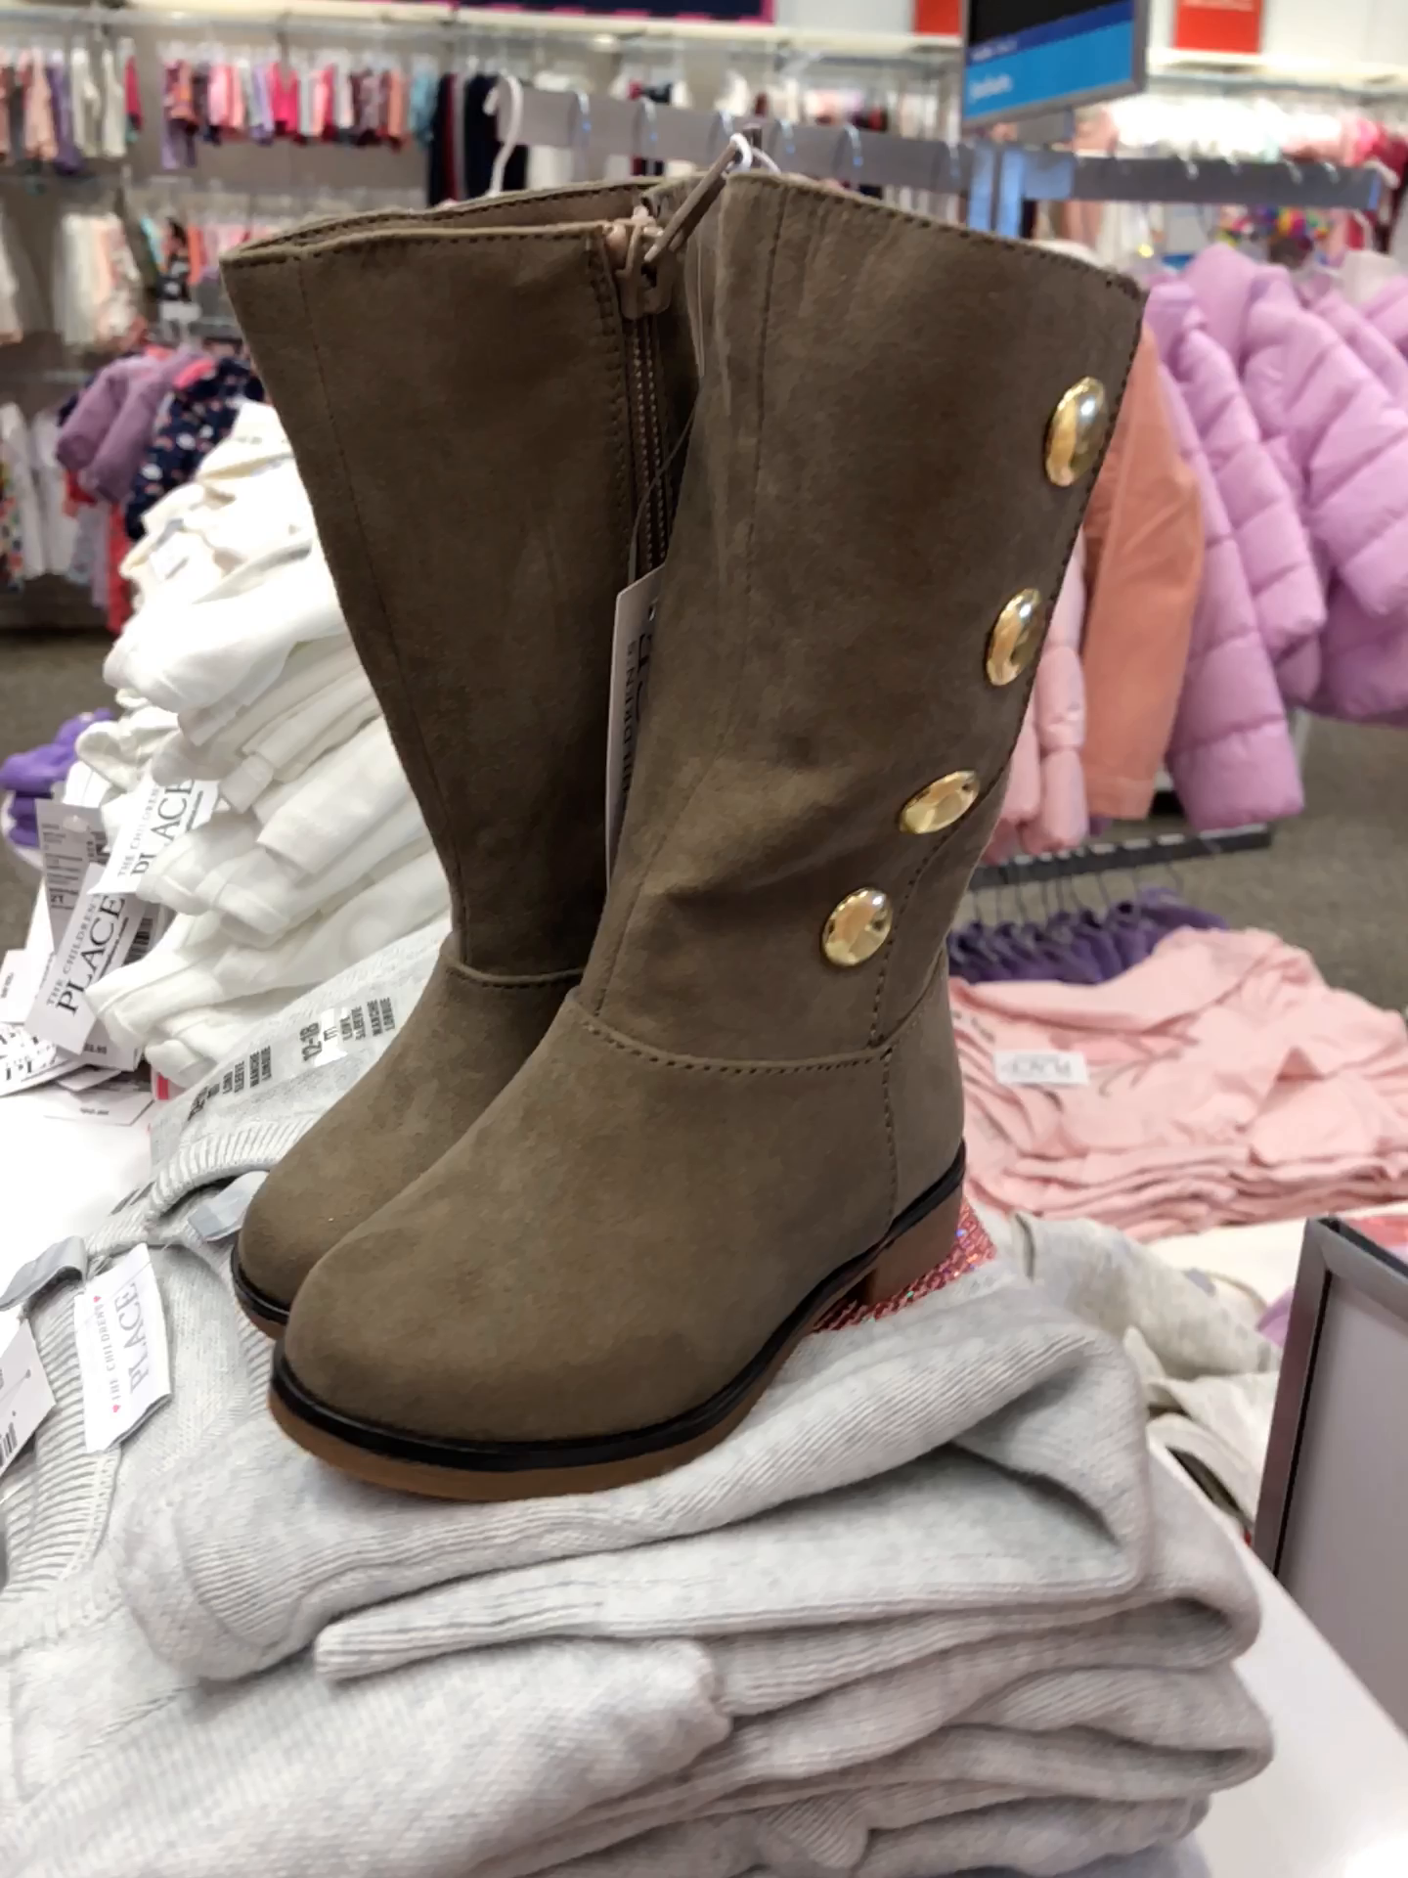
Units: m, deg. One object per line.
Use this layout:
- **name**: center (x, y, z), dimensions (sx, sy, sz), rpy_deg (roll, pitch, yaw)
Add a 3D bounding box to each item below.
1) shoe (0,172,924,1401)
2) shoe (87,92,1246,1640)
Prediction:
- **shoe**: center (-0.042, -0.037, 0.284), dimensions (0.155, 0.164, 0.070), rpy_deg (-28, 34, -33)
- **shoe**: center (0.000, -0.019, 0.247), dimensions (0.148, 0.184, 0.070), rpy_deg (-16, 28, -39)
